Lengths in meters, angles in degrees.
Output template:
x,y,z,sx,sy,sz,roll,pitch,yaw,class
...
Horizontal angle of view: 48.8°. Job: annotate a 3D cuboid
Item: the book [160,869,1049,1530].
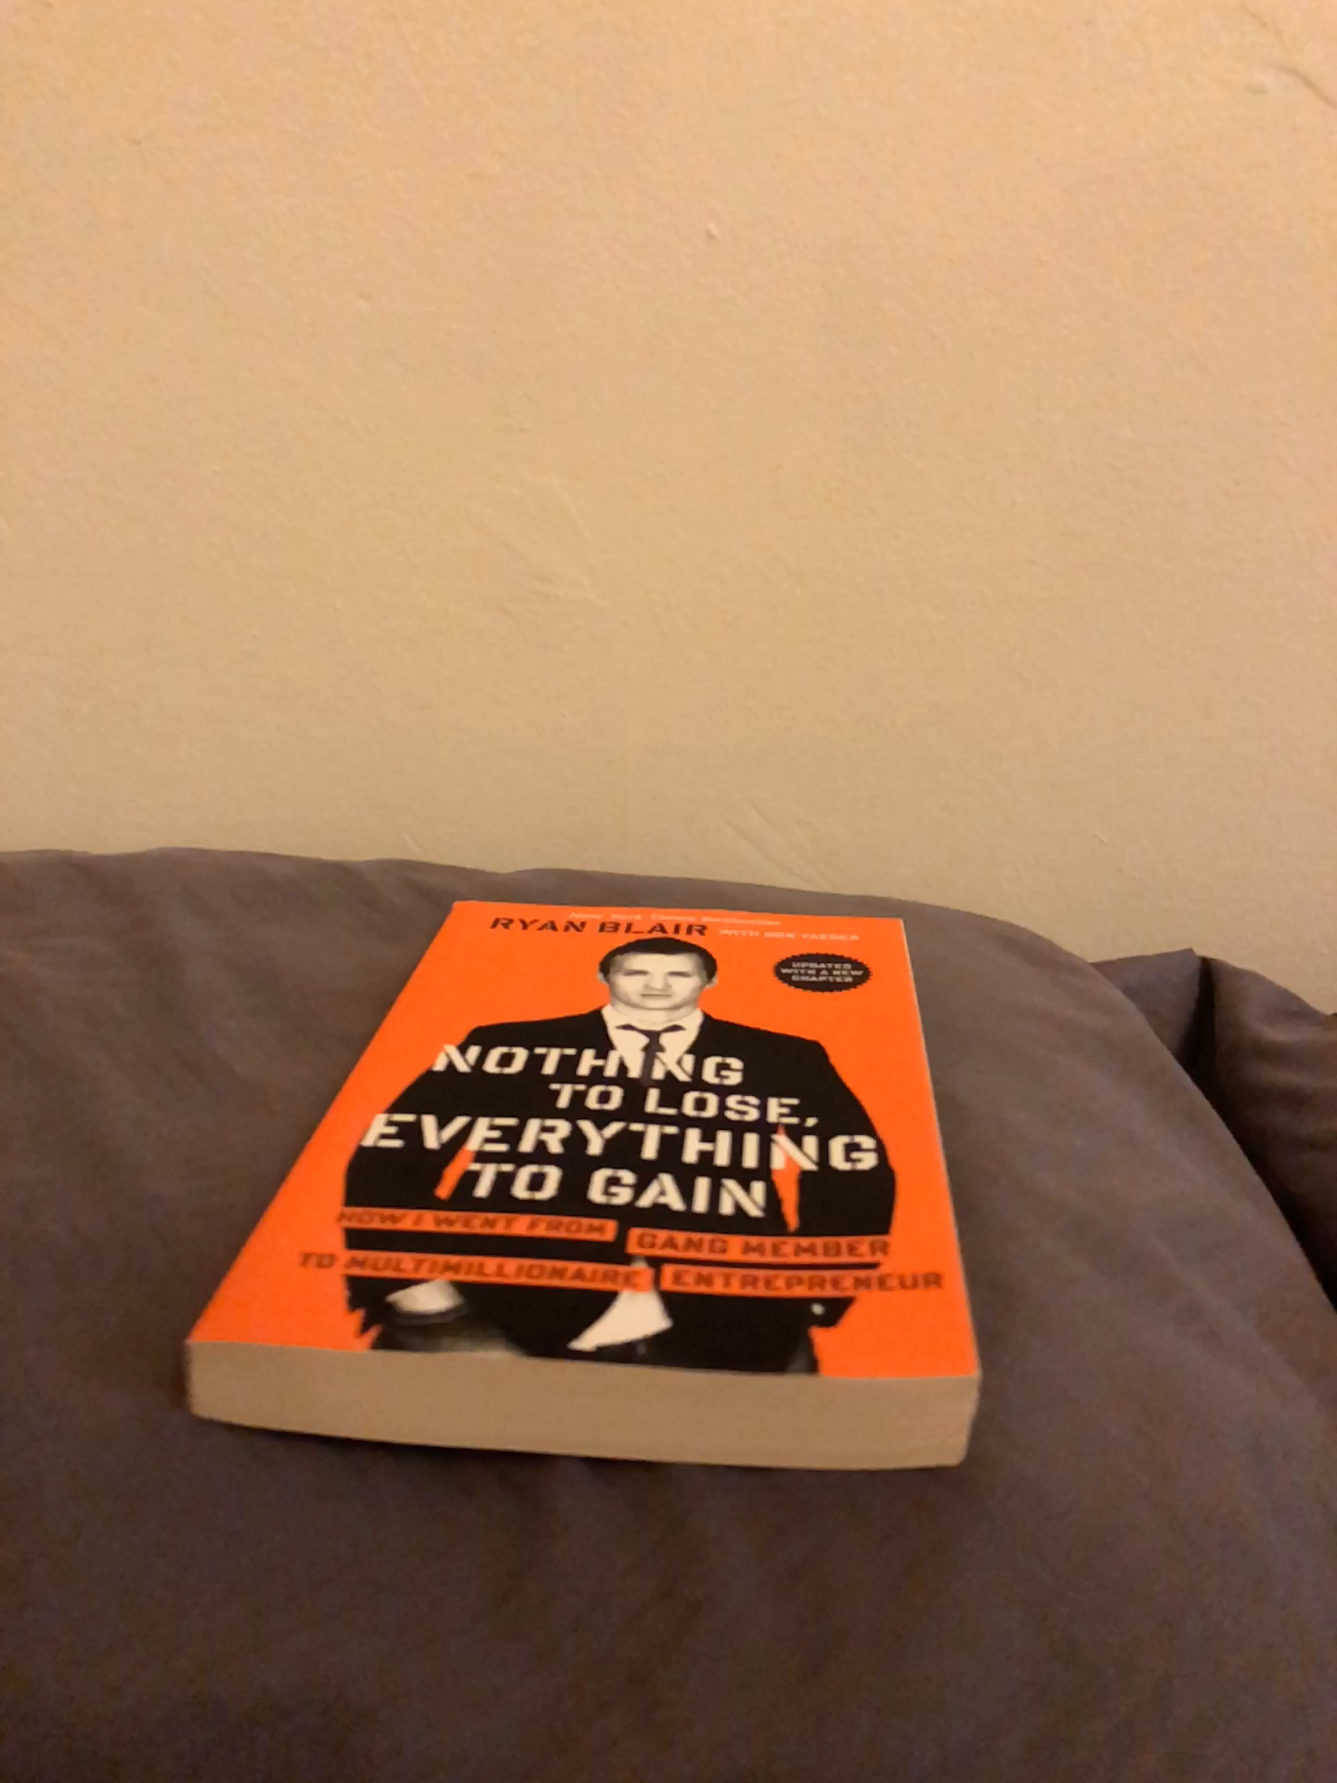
x,y,z,sx,sy,sz,roll,pitch,yaw,class
-0.003,0.050,0.357,0.150,0.020,0.231,6,21,3,book
